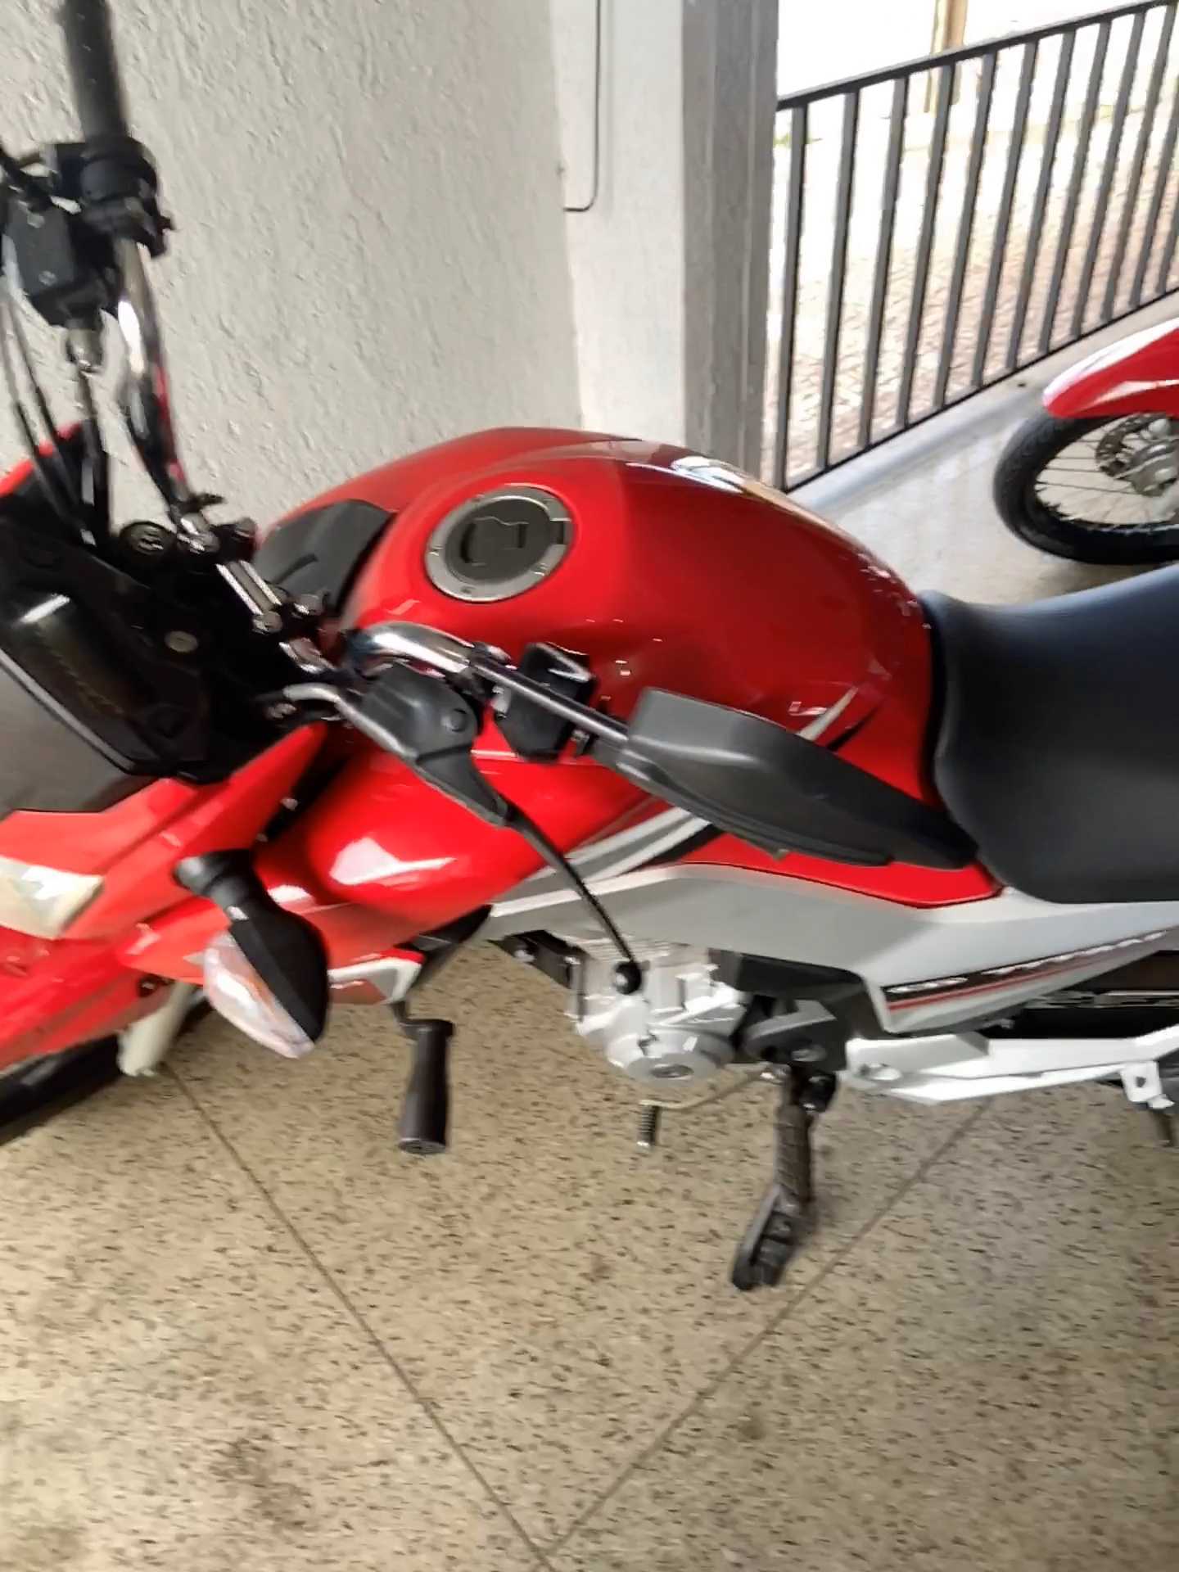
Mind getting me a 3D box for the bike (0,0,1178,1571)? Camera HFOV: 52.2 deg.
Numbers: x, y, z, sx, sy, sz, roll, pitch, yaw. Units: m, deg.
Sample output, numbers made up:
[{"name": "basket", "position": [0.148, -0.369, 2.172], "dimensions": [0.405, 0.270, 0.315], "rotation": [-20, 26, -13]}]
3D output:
[{"name": "bike", "position": [0.149, 0.185, 1.080], "dimensions": [1.990, 1.421, 0.873], "rotation": [-7, 39, 0]}]
